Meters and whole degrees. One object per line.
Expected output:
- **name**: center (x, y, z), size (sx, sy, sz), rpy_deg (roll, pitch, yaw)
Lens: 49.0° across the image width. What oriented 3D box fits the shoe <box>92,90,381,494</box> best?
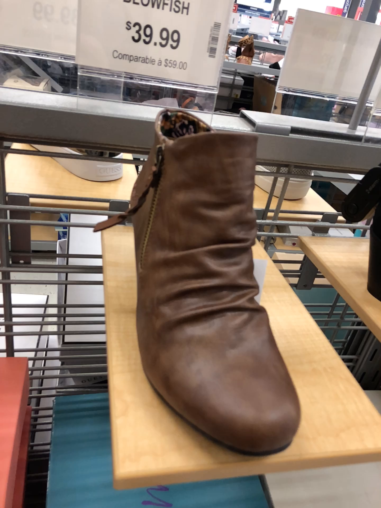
- **shoe**: center (-0.001, -0.006, 0.275), size (0.090, 0.139, 0.232), rpy_deg (-1, 32, -21)
